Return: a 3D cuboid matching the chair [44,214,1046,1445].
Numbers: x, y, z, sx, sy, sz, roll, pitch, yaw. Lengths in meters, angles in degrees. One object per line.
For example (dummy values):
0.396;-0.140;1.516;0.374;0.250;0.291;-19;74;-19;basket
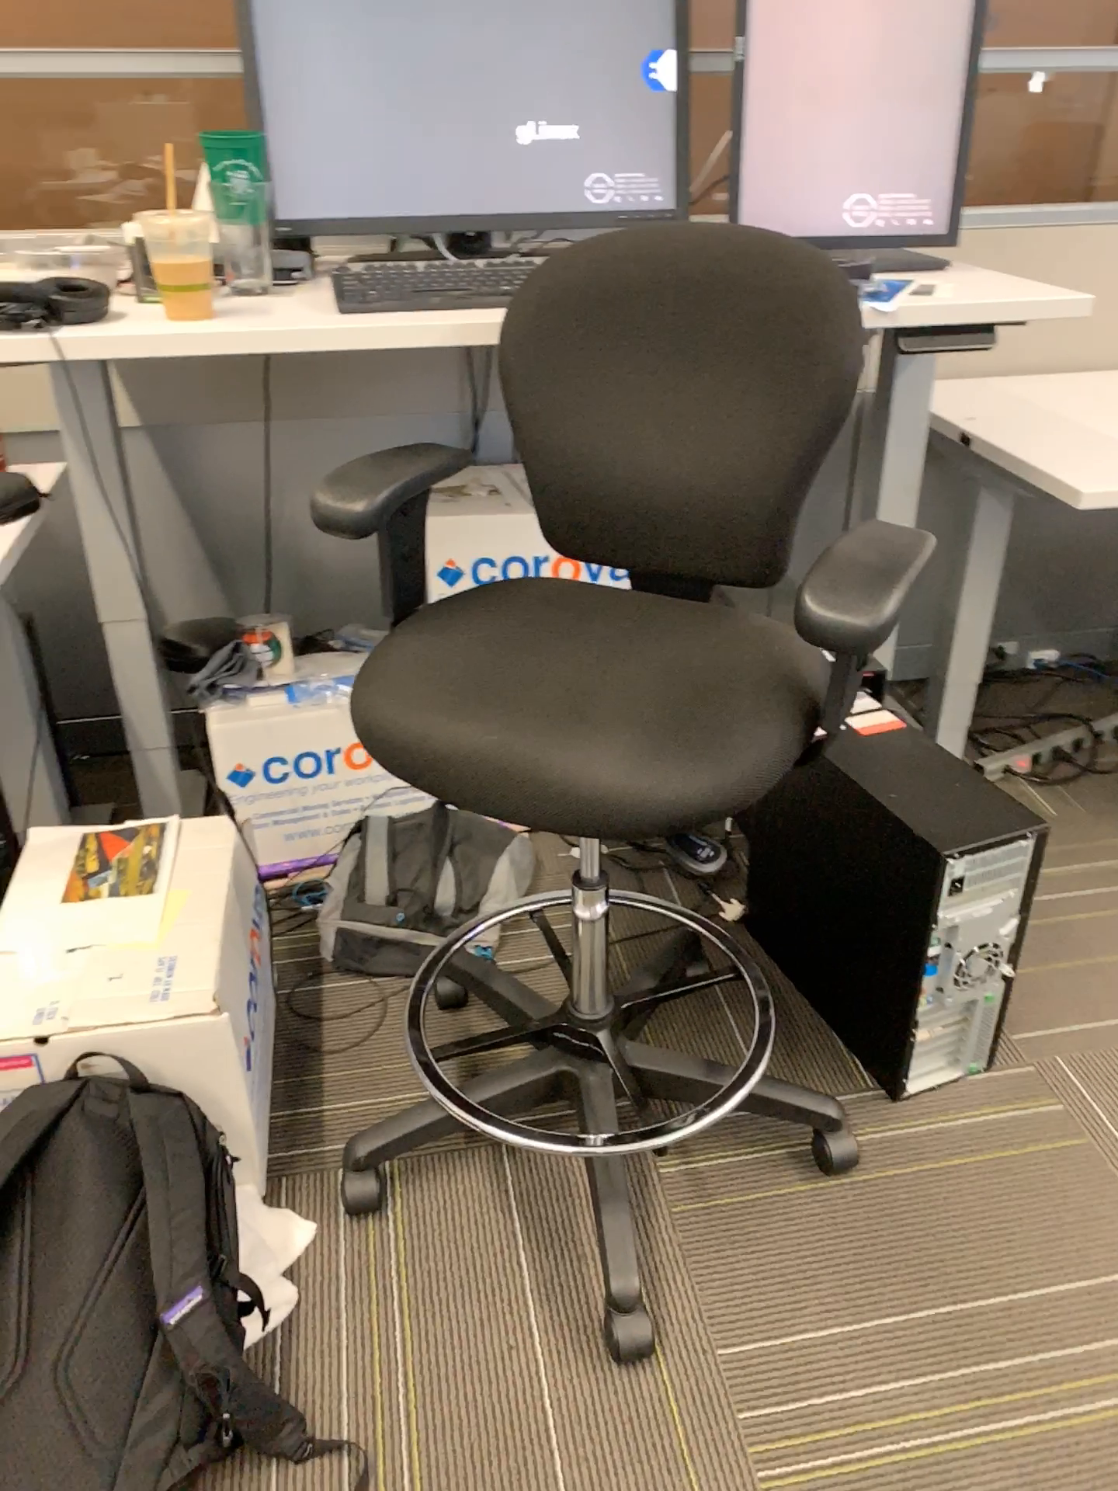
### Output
0.068;0.008;1.369;0.711;1.103;0.773;12;31;22;chair
